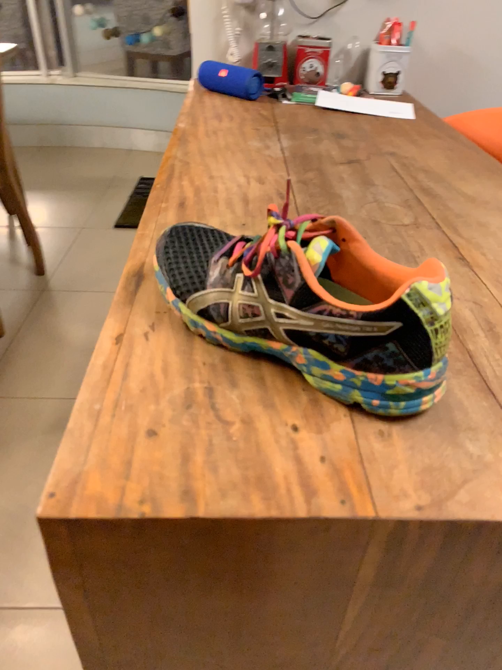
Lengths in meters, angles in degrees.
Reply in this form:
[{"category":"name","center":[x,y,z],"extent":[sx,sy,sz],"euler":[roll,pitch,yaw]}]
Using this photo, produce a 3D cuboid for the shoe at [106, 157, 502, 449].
[{"category":"shoe","center":[0.026,-0.050,0.439],"extent":[0.313,0.112,0.108],"euler":[26,42,29]}]
